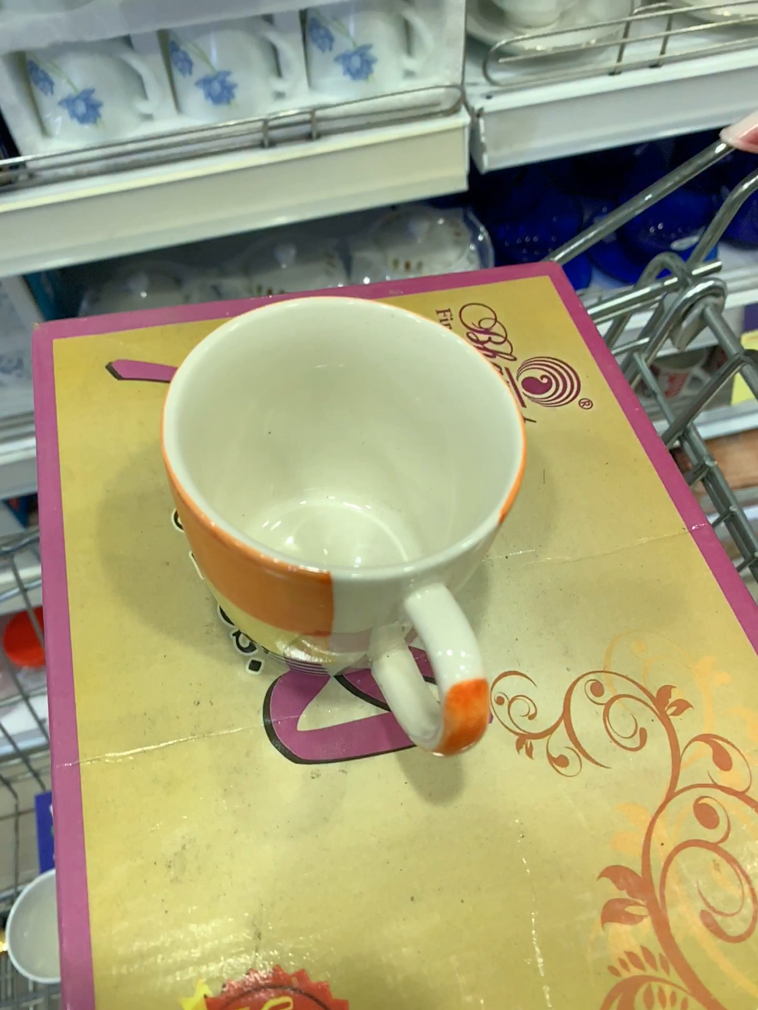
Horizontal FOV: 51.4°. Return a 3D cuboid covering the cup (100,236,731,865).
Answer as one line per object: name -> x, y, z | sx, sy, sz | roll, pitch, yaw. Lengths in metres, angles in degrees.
cup -> -0.001, 0.007, 0.166 | 0.080, 0.070, 0.090 | -17, 59, -18
